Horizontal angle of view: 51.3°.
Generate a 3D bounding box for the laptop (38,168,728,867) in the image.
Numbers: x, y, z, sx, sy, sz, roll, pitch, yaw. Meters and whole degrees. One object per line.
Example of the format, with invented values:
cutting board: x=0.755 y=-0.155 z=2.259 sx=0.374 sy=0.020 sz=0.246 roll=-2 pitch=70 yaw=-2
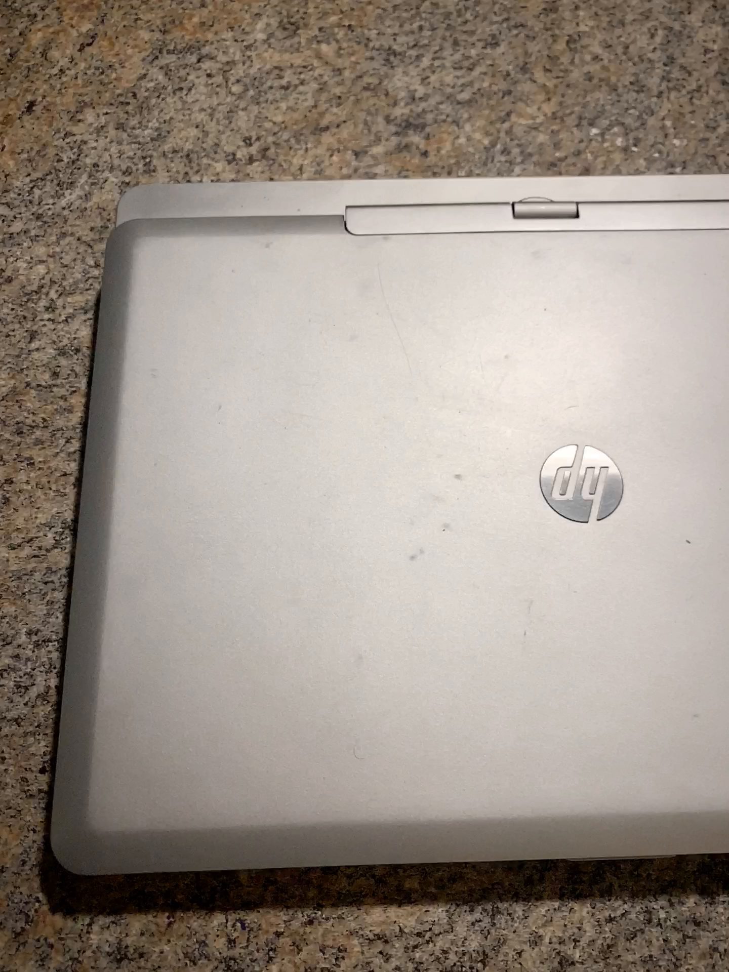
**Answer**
laptop: x=0.058 y=-0.007 z=0.209 sx=0.267 sy=0.005 sz=0.194 roll=-1 pitch=69 yaw=-1
